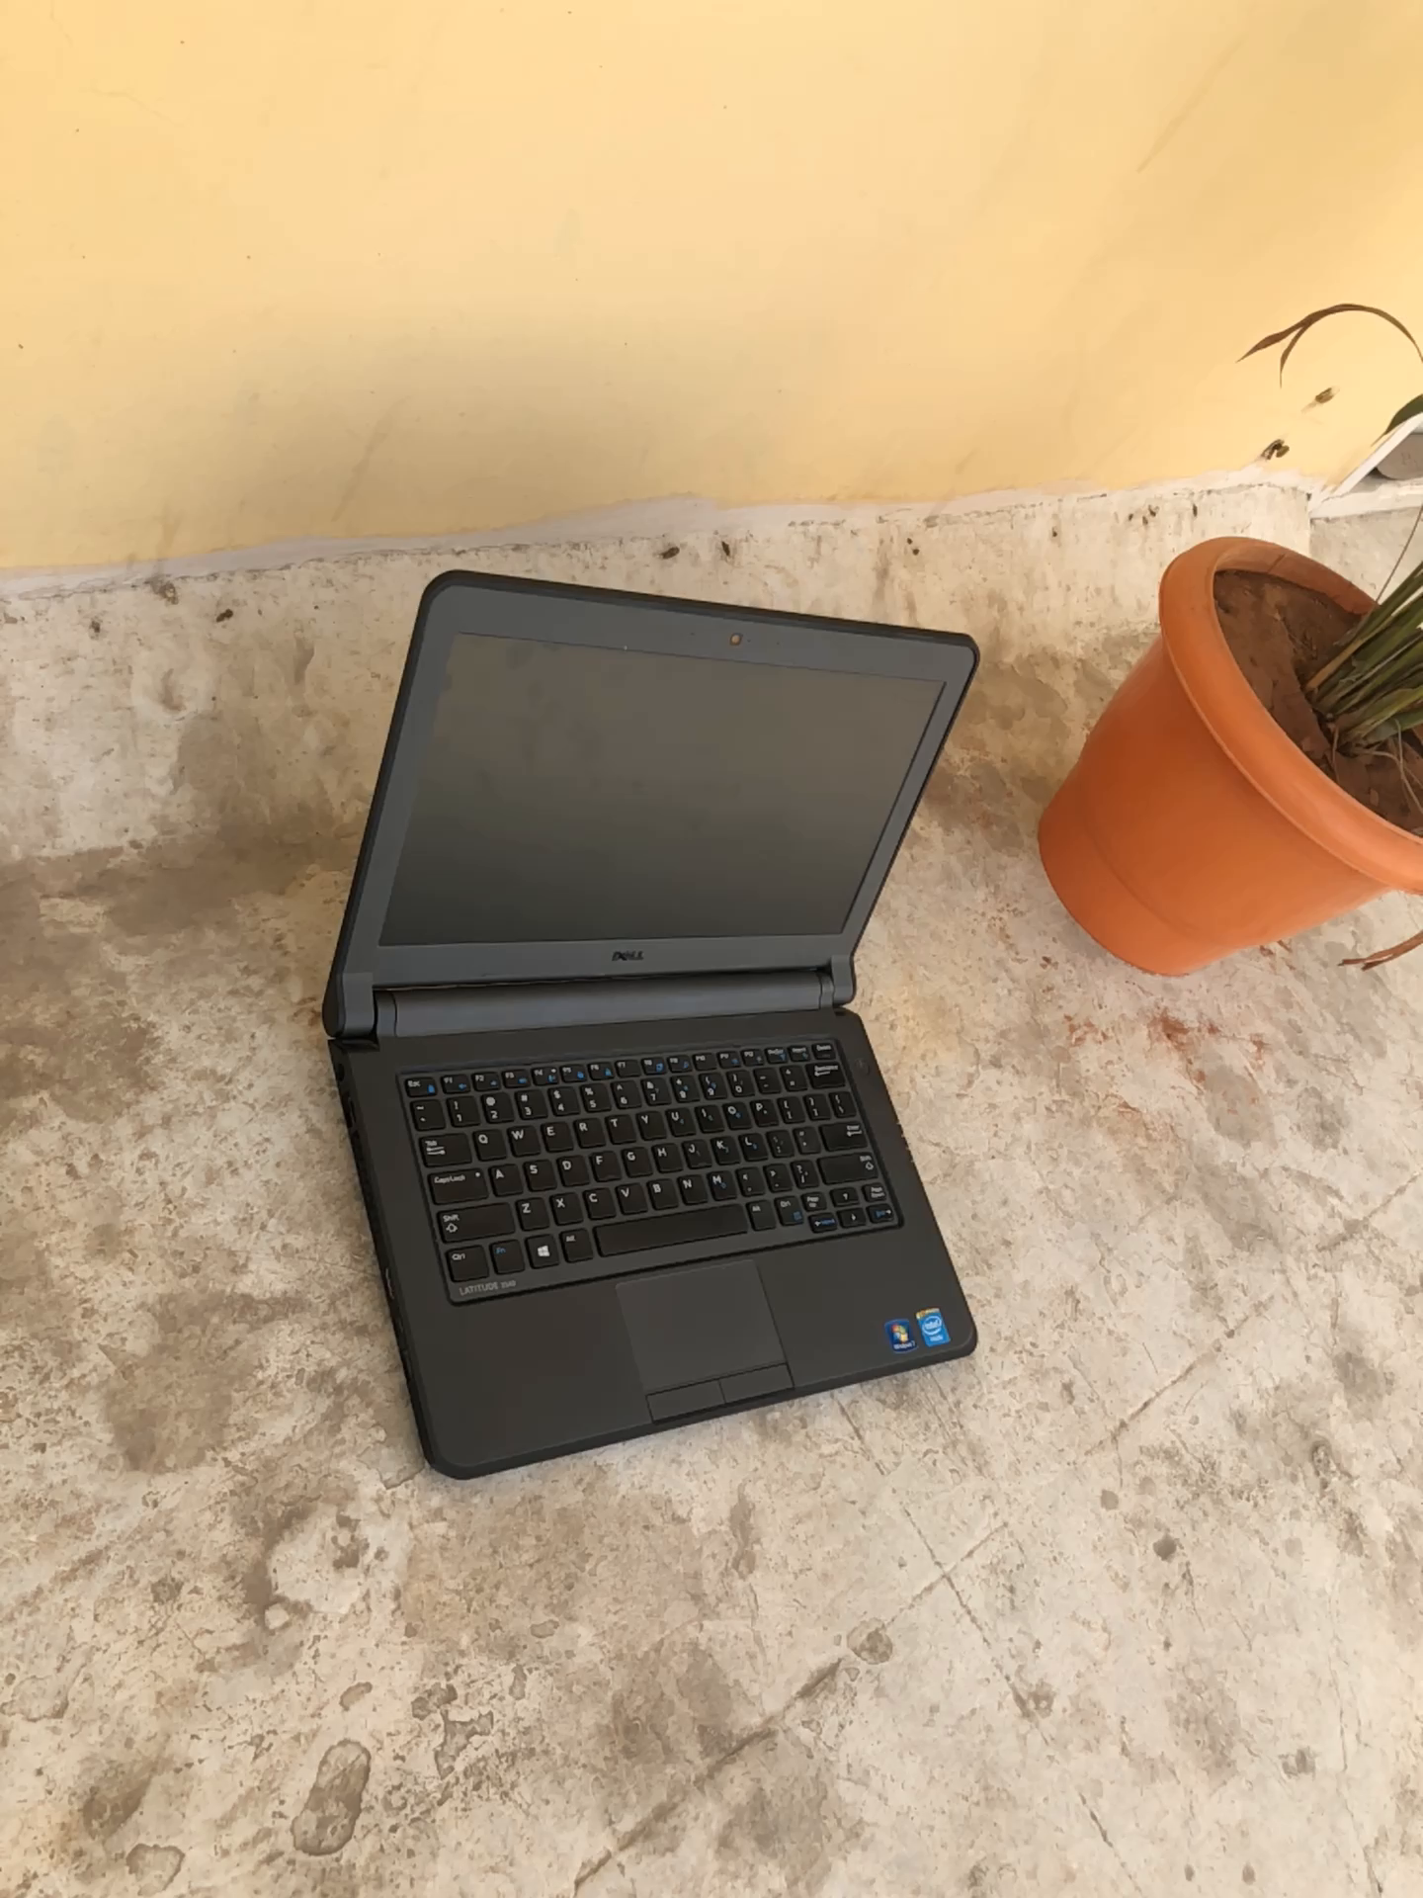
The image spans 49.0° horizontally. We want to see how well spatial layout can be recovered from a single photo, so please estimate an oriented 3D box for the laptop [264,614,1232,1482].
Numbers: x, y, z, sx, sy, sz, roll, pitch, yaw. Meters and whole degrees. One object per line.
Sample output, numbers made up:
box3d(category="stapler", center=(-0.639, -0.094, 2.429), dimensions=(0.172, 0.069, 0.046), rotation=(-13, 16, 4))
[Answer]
box3d(category="laptop", center=(0.001, 0.035, 0.733), dimensions=(0.309, 0.208, 0.299), rotation=(-2, 58, -35))
